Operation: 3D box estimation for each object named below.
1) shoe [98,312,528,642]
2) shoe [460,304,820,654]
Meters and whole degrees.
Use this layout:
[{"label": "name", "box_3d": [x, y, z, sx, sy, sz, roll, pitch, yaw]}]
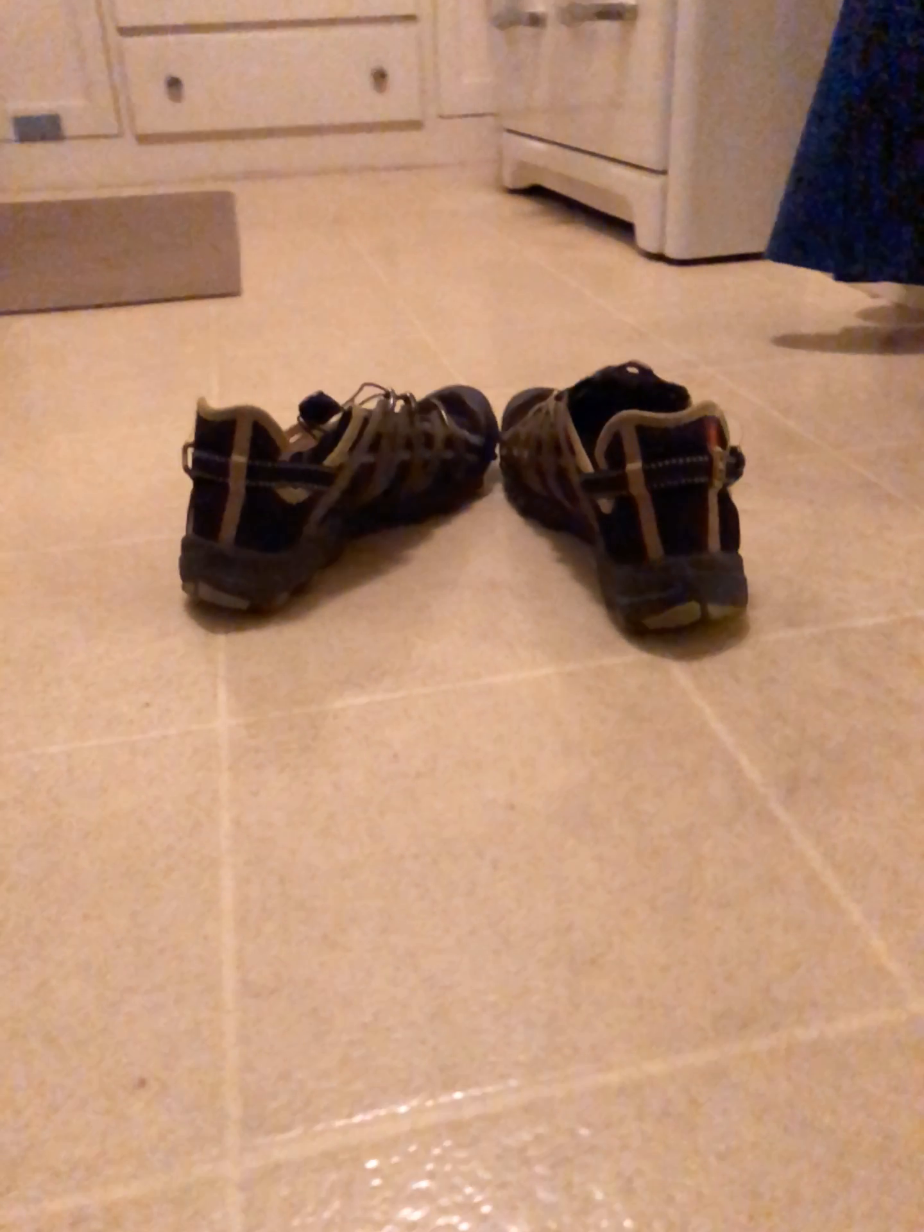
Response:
[{"label": "shoe", "box_3d": [-0.075, -0.105, 0.654, 0.100, 0.109, 0.280, 18, 35, 32]}, {"label": "shoe", "box_3d": [0.091, -0.105, 0.641, 0.109, 0.111, 0.288, -9, 30, -12]}]
